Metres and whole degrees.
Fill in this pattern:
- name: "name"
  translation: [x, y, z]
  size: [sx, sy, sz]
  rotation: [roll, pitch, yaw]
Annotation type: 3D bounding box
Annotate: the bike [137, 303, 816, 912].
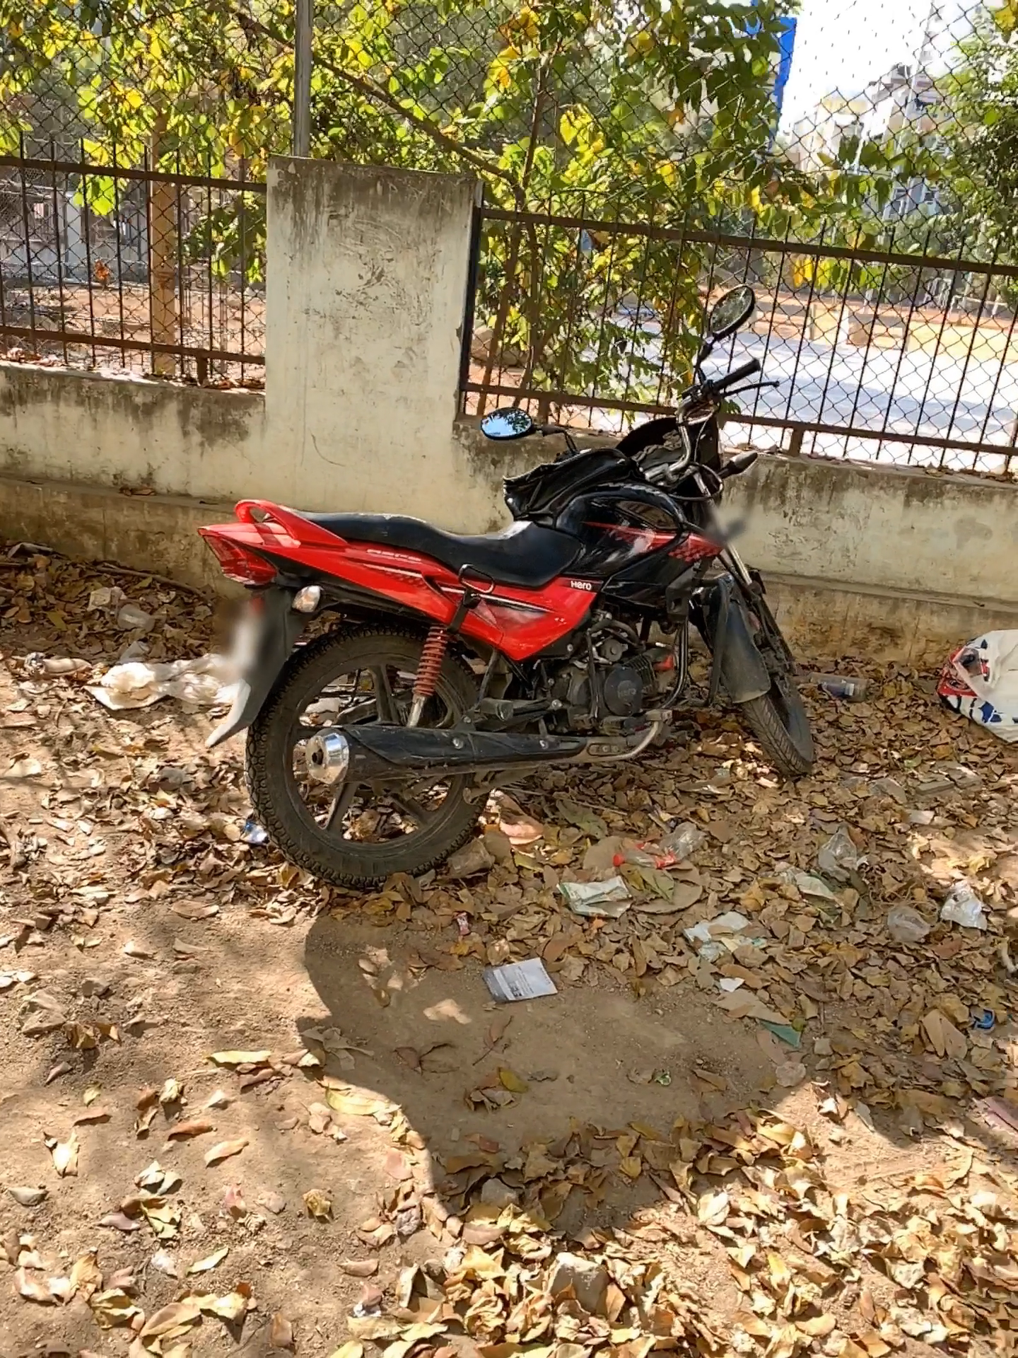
- name: "bike"
  translation: [-0.115, -0.304, 2.567]
  size: [1.291, 1.067, 0.824]
  rotation: [-13, 29, -32]
